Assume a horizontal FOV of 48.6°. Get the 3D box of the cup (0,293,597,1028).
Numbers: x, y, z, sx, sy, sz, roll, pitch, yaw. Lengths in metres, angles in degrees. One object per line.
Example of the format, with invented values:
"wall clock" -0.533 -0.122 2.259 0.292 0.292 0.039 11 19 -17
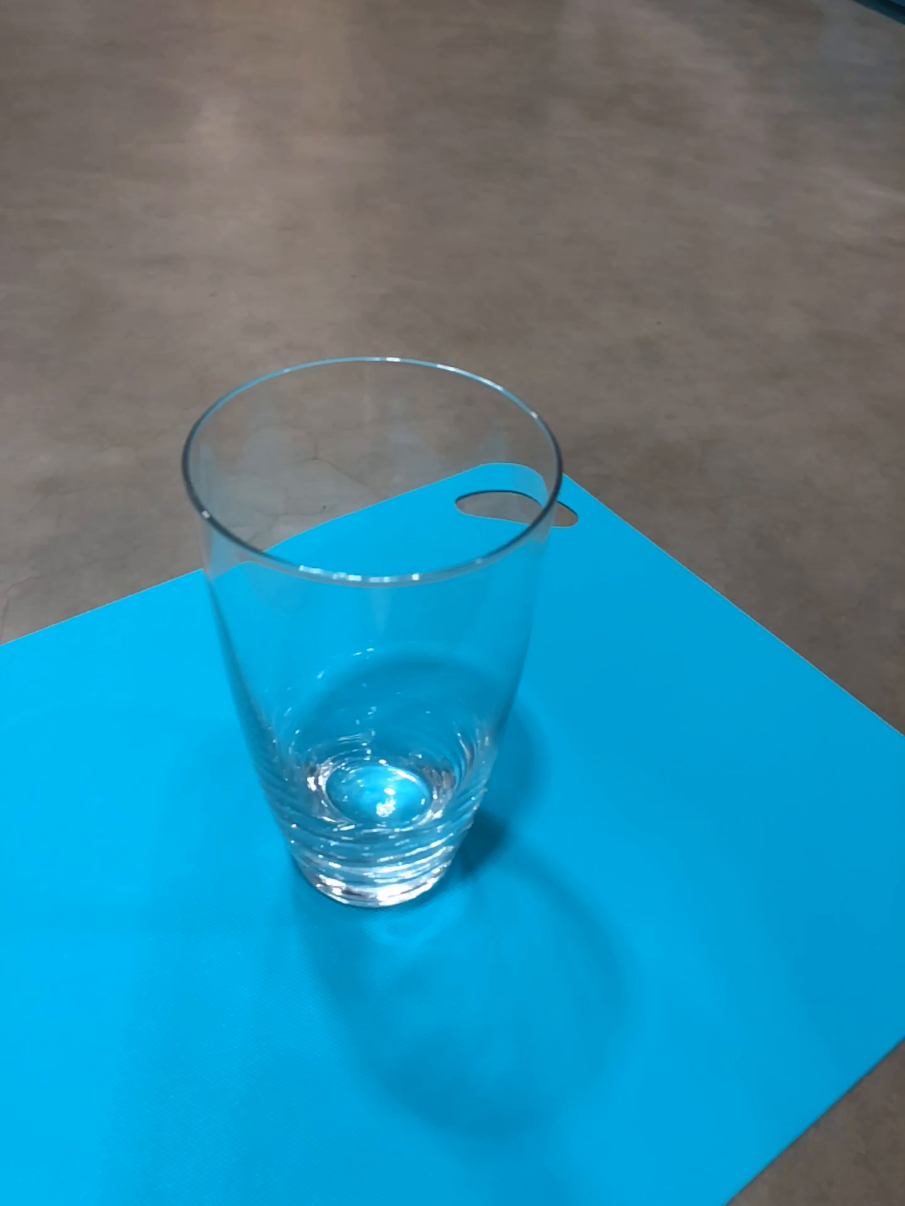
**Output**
"cup" -0.034 0.018 0.284 0.100 0.159 0.100 2 42 -2
